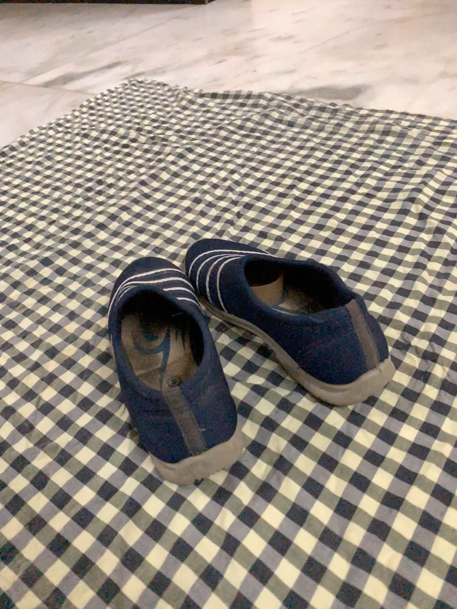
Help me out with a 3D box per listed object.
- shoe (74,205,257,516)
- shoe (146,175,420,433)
[{"bbox_3d":[-0.065,0.027,0.407,0.090,0.099,0.252,-17,43,-9],"label":"shoe"},{"bbox_3d":[0.032,-0.019,0.424,0.090,0.089,0.252,-29,46,-21],"label":"shoe"}]
